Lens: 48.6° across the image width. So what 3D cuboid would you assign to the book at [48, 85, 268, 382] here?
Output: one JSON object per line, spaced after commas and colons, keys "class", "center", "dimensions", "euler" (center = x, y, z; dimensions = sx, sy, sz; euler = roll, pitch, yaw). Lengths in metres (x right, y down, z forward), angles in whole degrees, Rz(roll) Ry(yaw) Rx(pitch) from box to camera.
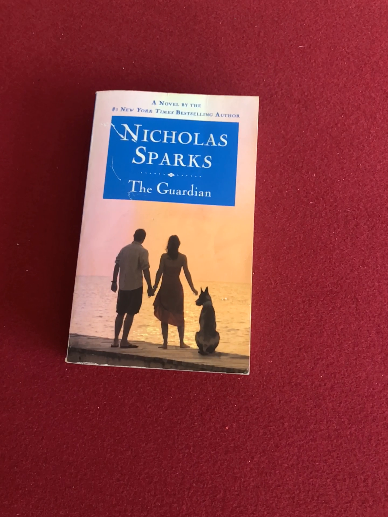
{"class": "book", "center": [-0.016, -0.018, 0.262], "dimensions": [0.110, 0.030, 0.170], "euler": [4, 77, 2]}
